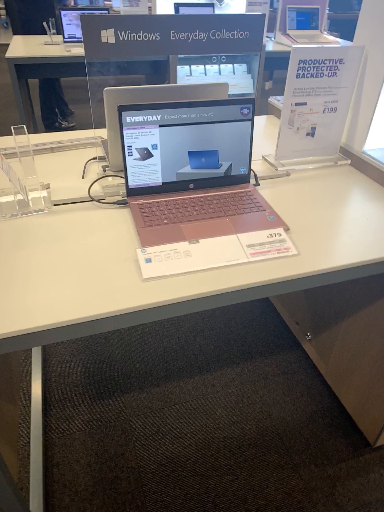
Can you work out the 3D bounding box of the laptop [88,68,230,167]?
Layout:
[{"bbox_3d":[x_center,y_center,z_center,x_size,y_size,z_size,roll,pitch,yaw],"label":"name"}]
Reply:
[{"bbox_3d":[-0.101,-0.399,1.098,0.324,0.186,0.245,-9,37,-16],"label":"laptop"}]

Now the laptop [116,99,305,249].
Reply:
[{"bbox_3d":[0.020,-0.190,0.836,0.312,0.200,0.251,-8,38,-14],"label":"laptop"}]
